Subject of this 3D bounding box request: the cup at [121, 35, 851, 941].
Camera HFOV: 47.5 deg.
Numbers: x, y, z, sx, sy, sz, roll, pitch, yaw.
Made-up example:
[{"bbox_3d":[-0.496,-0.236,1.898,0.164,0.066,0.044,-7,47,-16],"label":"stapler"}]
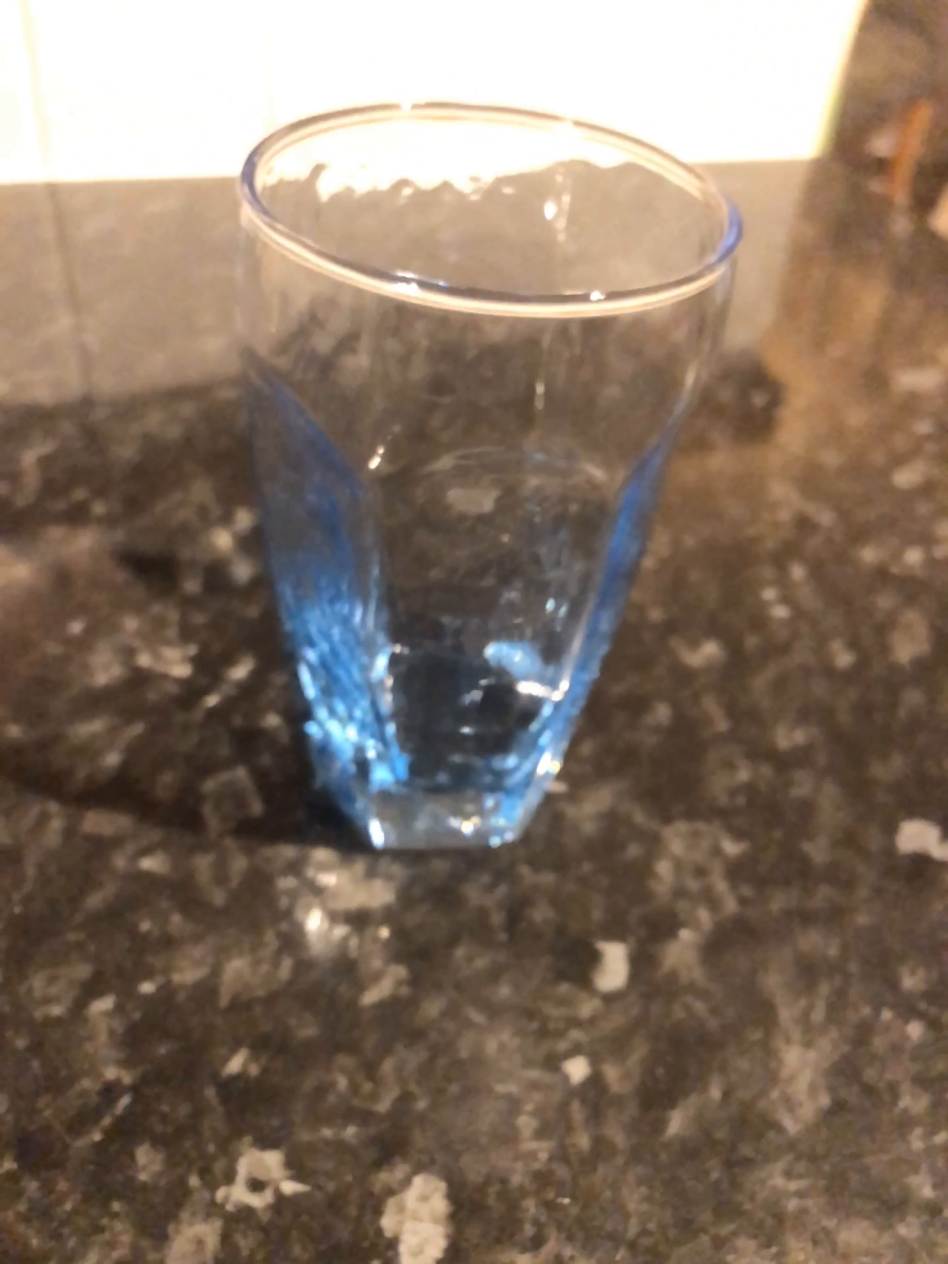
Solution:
[{"bbox_3d":[0.001,-0.025,0.191,0.070,0.119,0.080,28,46,22],"label":"cup"}]
